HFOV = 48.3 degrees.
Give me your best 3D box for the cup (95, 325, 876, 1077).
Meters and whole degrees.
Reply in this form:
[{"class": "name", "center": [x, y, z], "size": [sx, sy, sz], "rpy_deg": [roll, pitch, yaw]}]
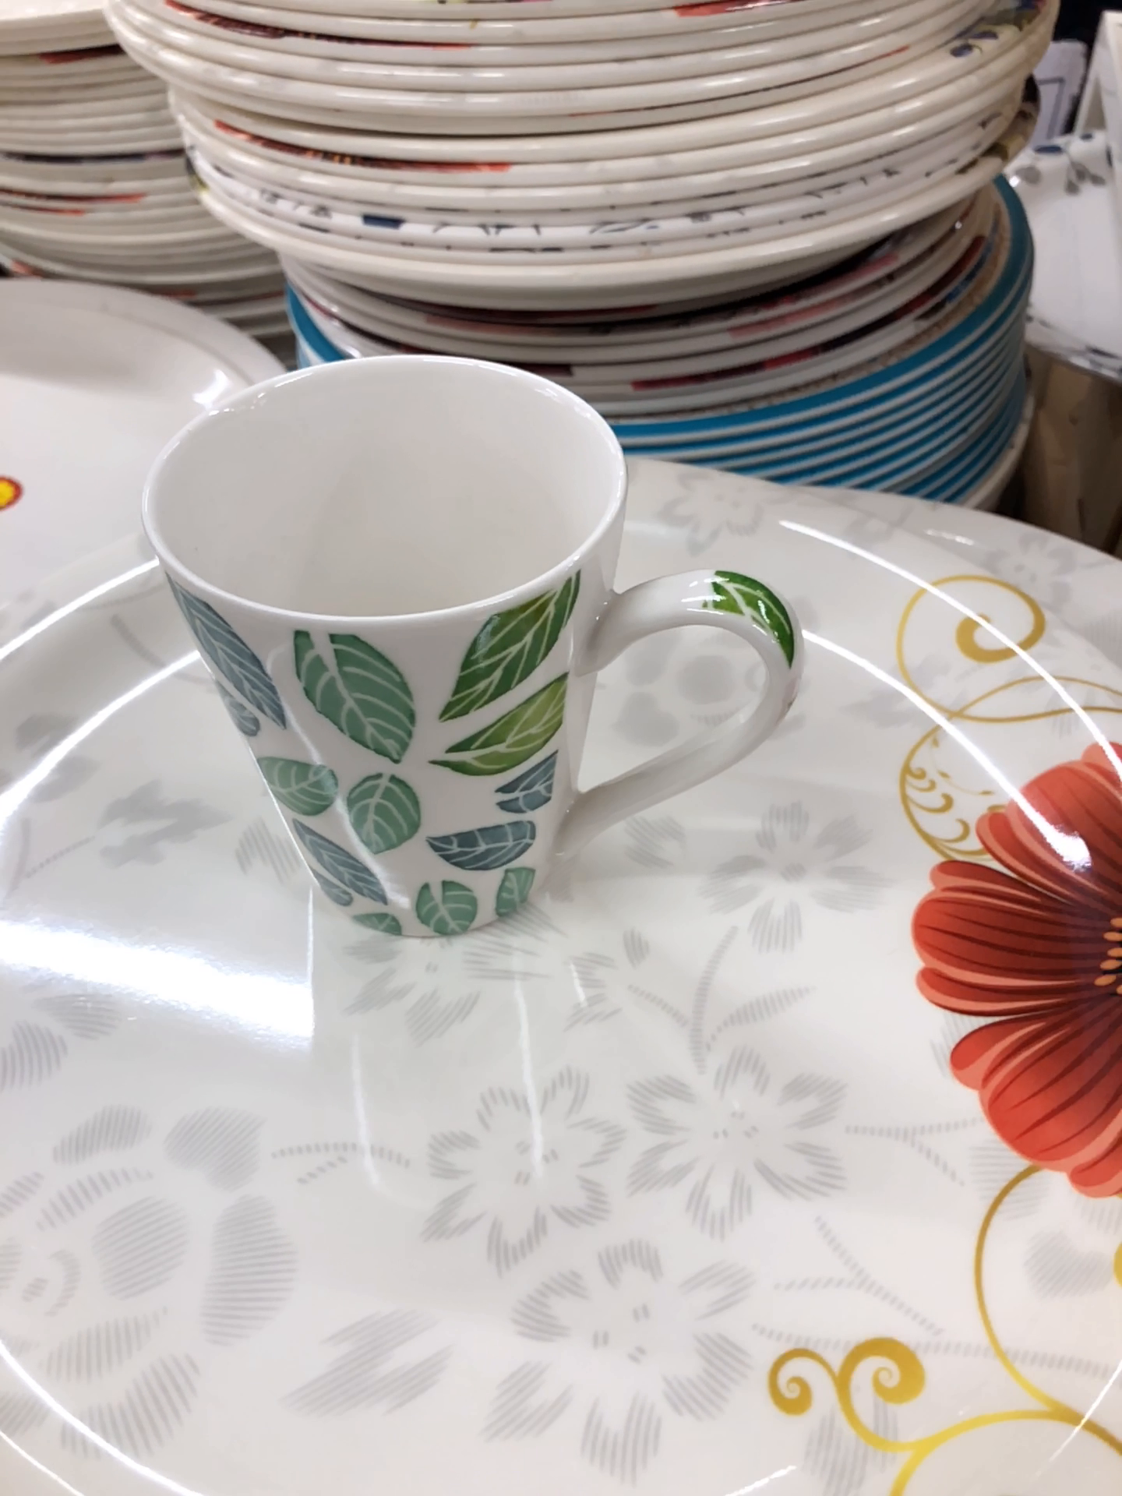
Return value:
[{"class": "cup", "center": [-0.007, -0.008, 0.262], "size": [0.120, 0.119, 0.081], "rpy_deg": [9, 47, 9]}]
